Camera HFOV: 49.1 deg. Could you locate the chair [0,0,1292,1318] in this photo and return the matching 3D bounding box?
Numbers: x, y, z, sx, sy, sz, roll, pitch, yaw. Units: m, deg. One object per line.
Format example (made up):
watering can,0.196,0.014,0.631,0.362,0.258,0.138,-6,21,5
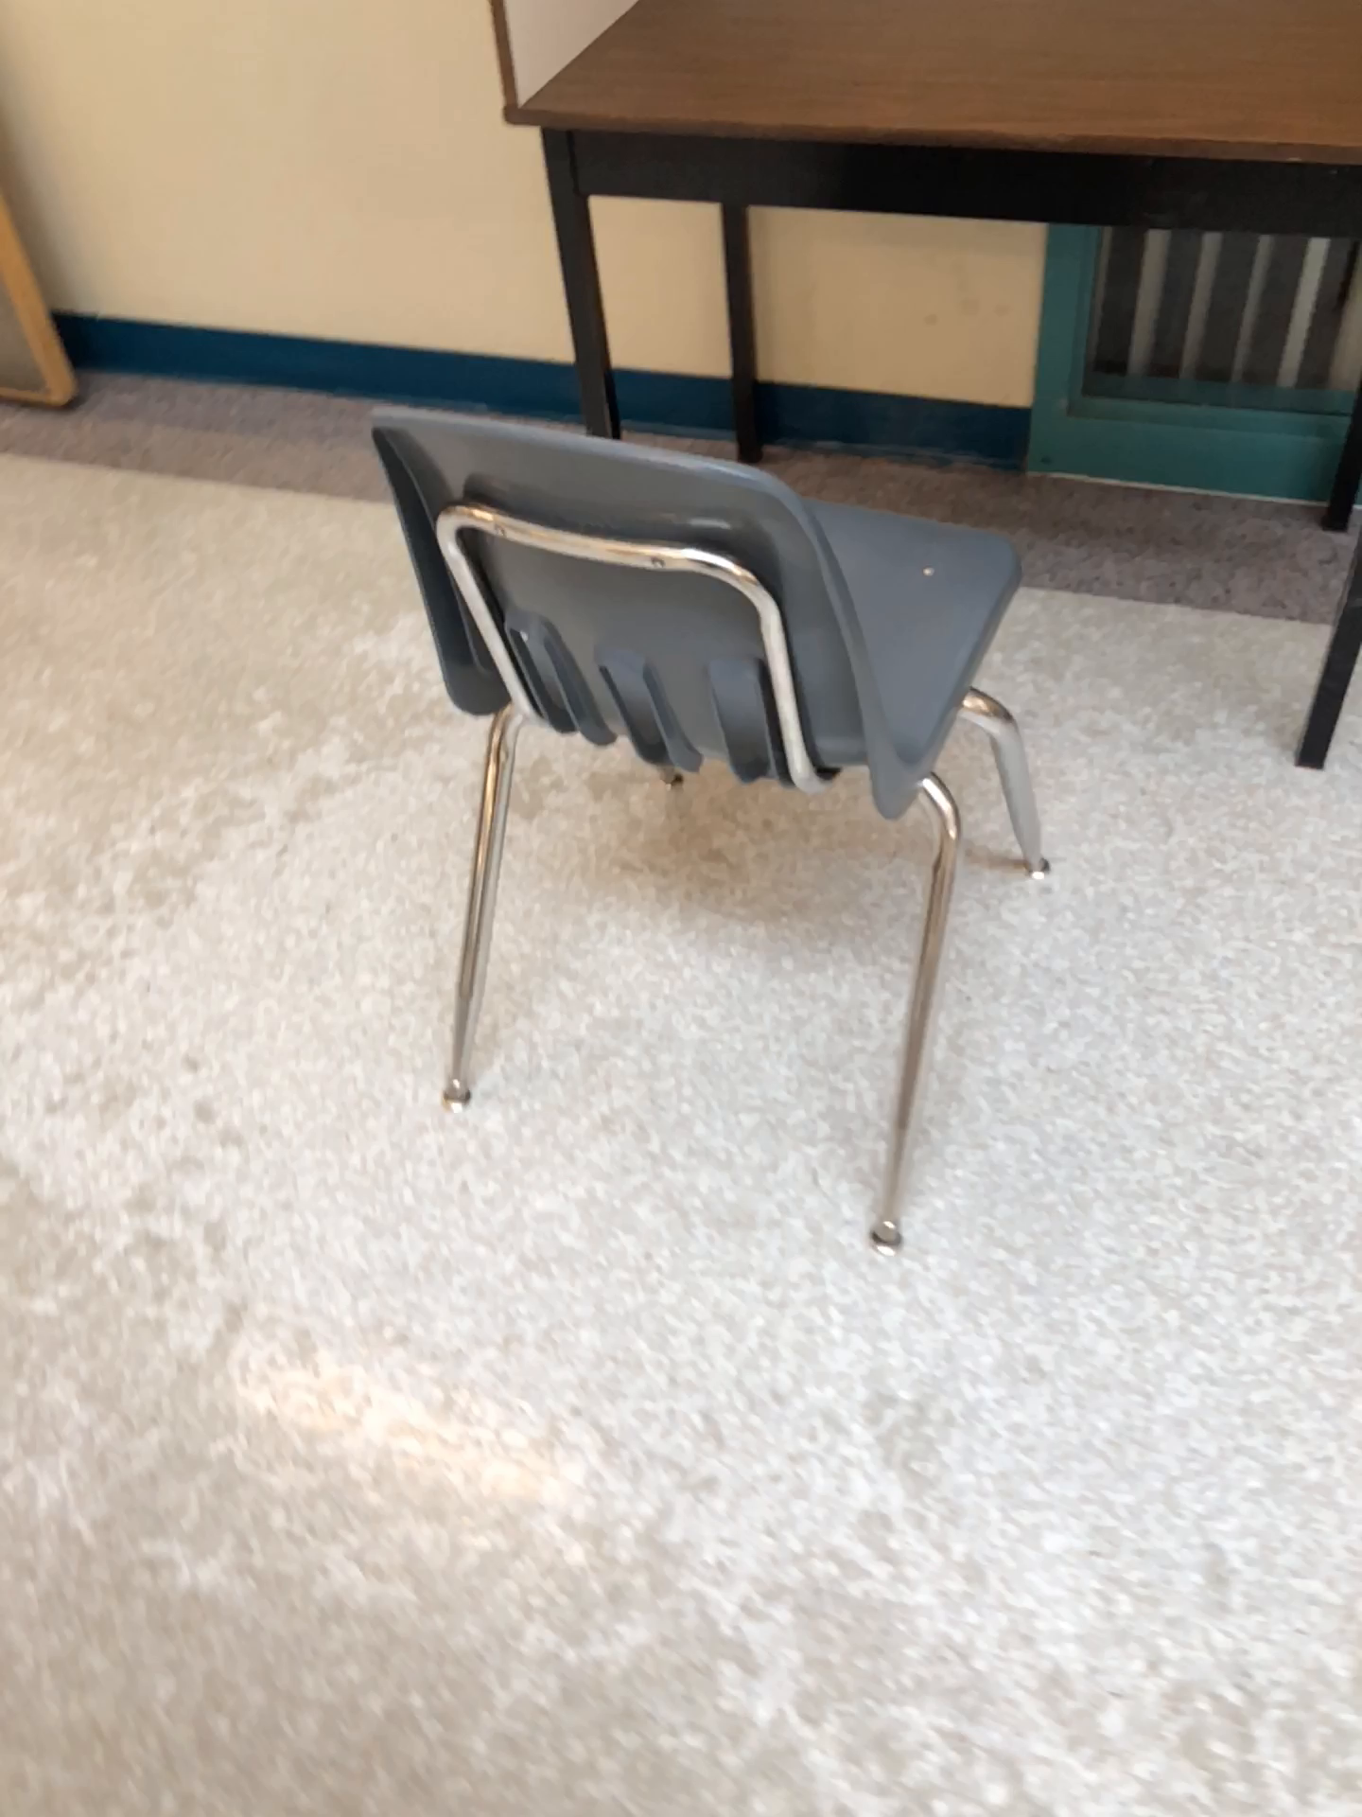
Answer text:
chair,0.038,-0.218,1.157,0.591,0.695,0.613,16,50,20
